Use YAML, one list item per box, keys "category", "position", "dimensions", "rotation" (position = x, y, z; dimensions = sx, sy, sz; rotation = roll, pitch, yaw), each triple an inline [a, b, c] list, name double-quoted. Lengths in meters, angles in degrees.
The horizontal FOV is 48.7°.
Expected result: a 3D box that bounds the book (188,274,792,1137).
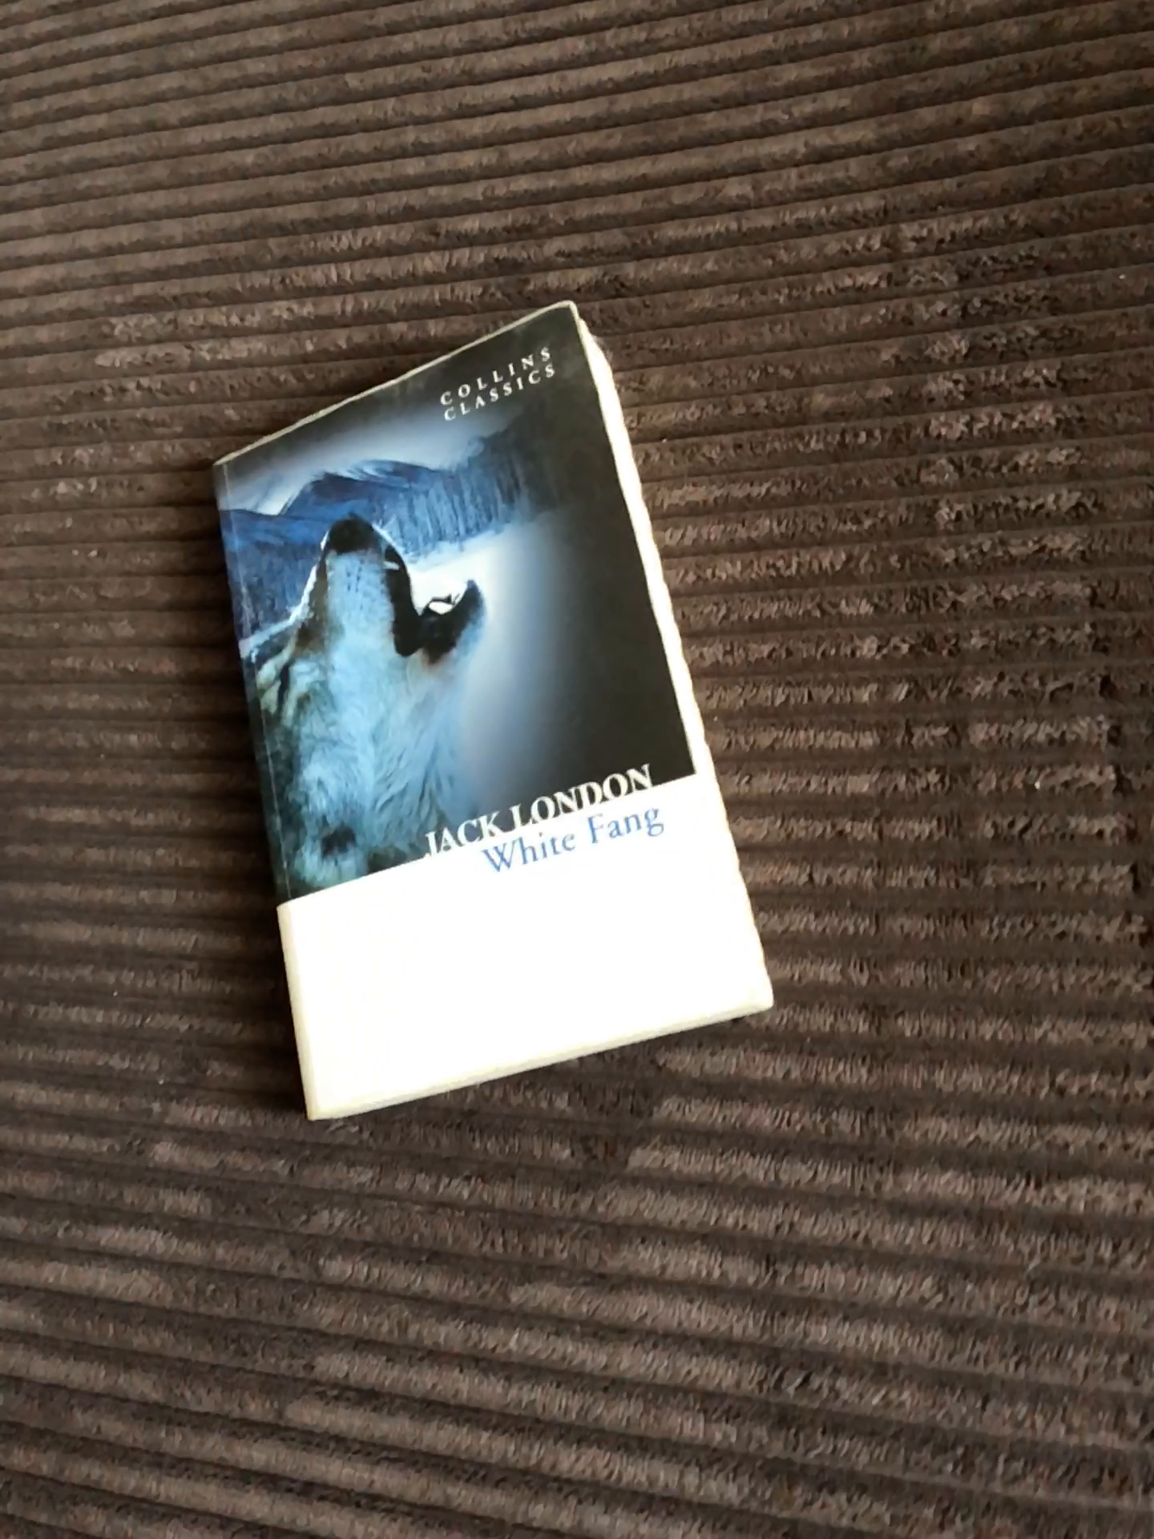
- category: "book"
  position: [-0.028, -0.013, 0.311]
  dimensions: [0.114, 0.030, 0.178]
  rotation: [-18, 75, 21]
